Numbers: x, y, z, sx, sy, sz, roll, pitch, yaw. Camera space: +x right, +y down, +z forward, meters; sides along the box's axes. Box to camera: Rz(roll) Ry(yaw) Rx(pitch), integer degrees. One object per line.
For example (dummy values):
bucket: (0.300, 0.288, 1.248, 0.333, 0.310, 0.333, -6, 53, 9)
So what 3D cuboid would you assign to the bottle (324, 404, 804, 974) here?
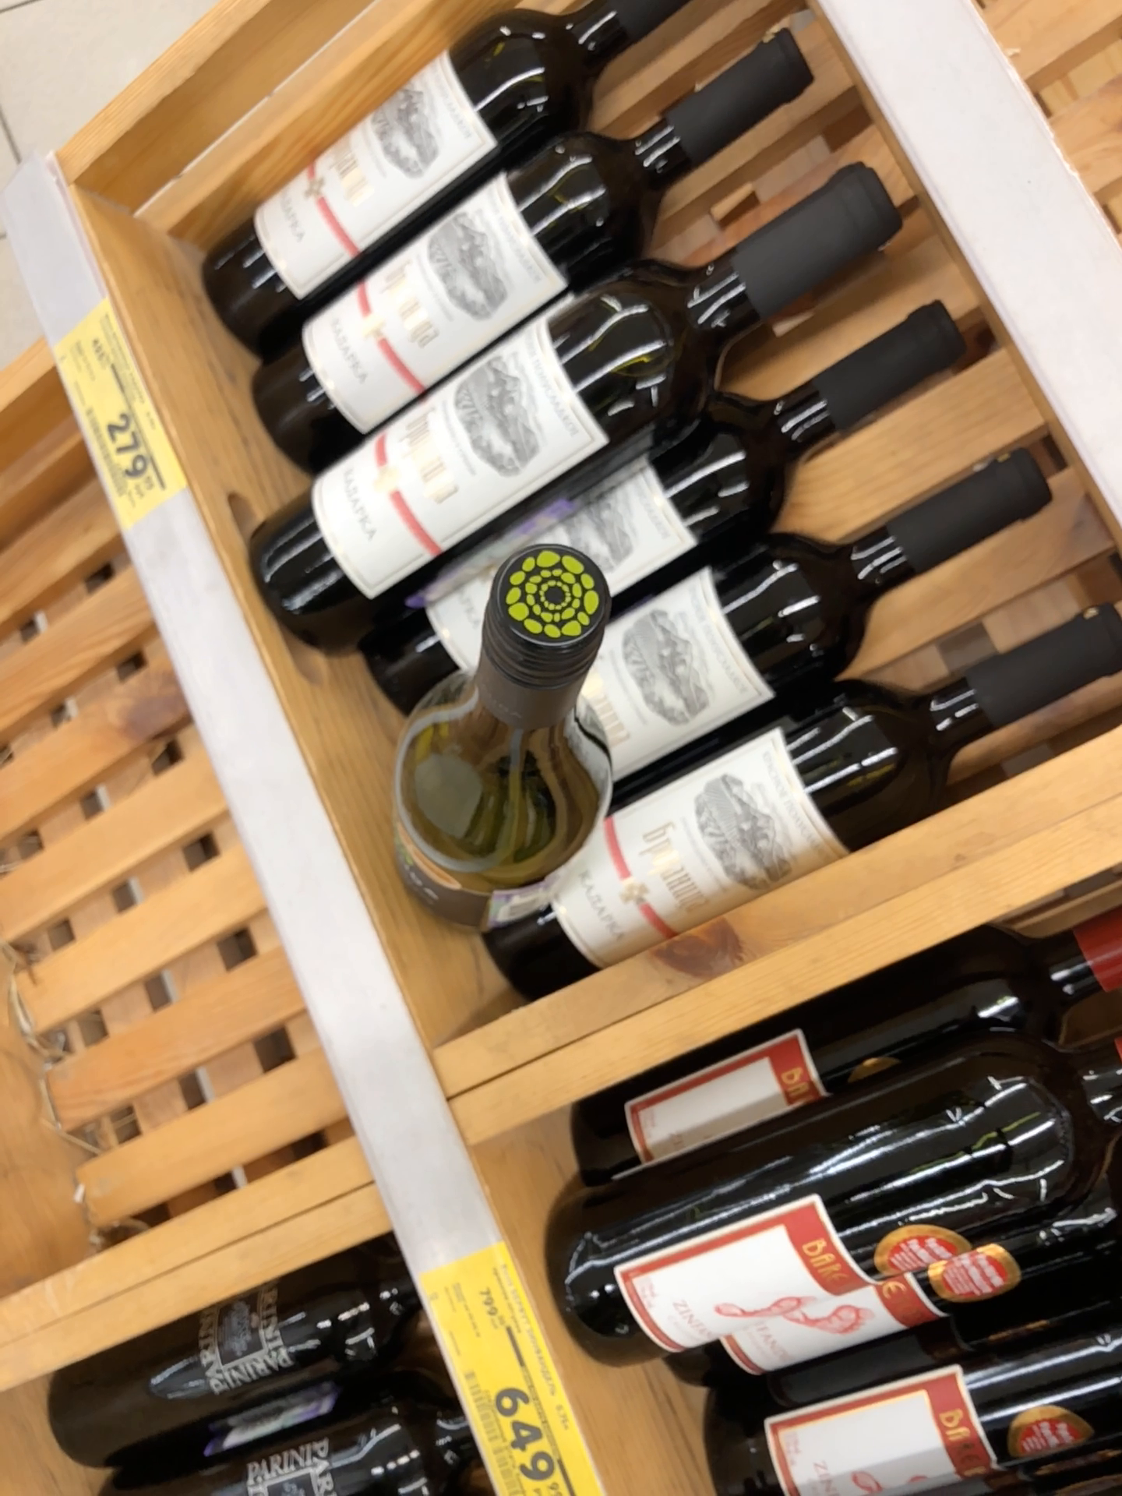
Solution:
bottle: (-0.016, 0.007, 0.437, 0.090, 0.290, 0.090, 2, 74, -6)
